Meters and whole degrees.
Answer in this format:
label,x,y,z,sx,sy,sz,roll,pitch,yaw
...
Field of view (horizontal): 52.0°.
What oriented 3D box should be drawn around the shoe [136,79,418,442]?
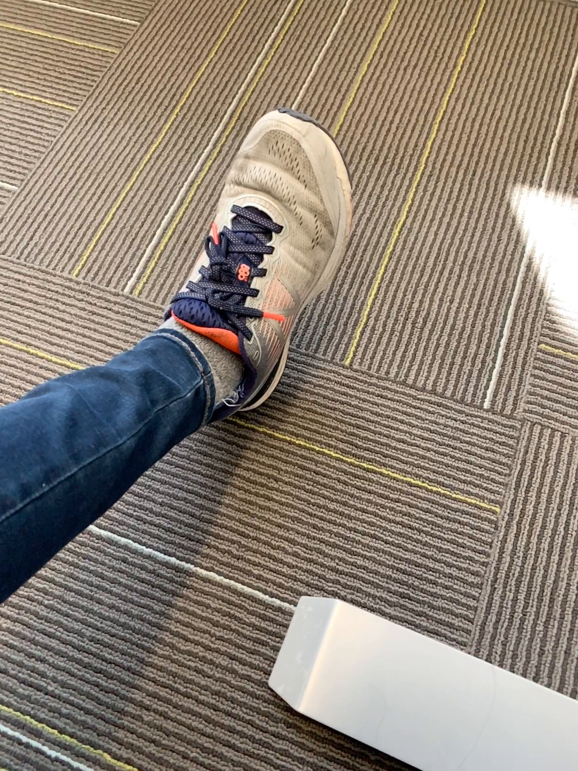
label,x,y,z,sx,sy,sz,roll,pitch,yaw
shoe,-0.009,-0.094,0.481,0.120,0.110,0.230,28,108,14
